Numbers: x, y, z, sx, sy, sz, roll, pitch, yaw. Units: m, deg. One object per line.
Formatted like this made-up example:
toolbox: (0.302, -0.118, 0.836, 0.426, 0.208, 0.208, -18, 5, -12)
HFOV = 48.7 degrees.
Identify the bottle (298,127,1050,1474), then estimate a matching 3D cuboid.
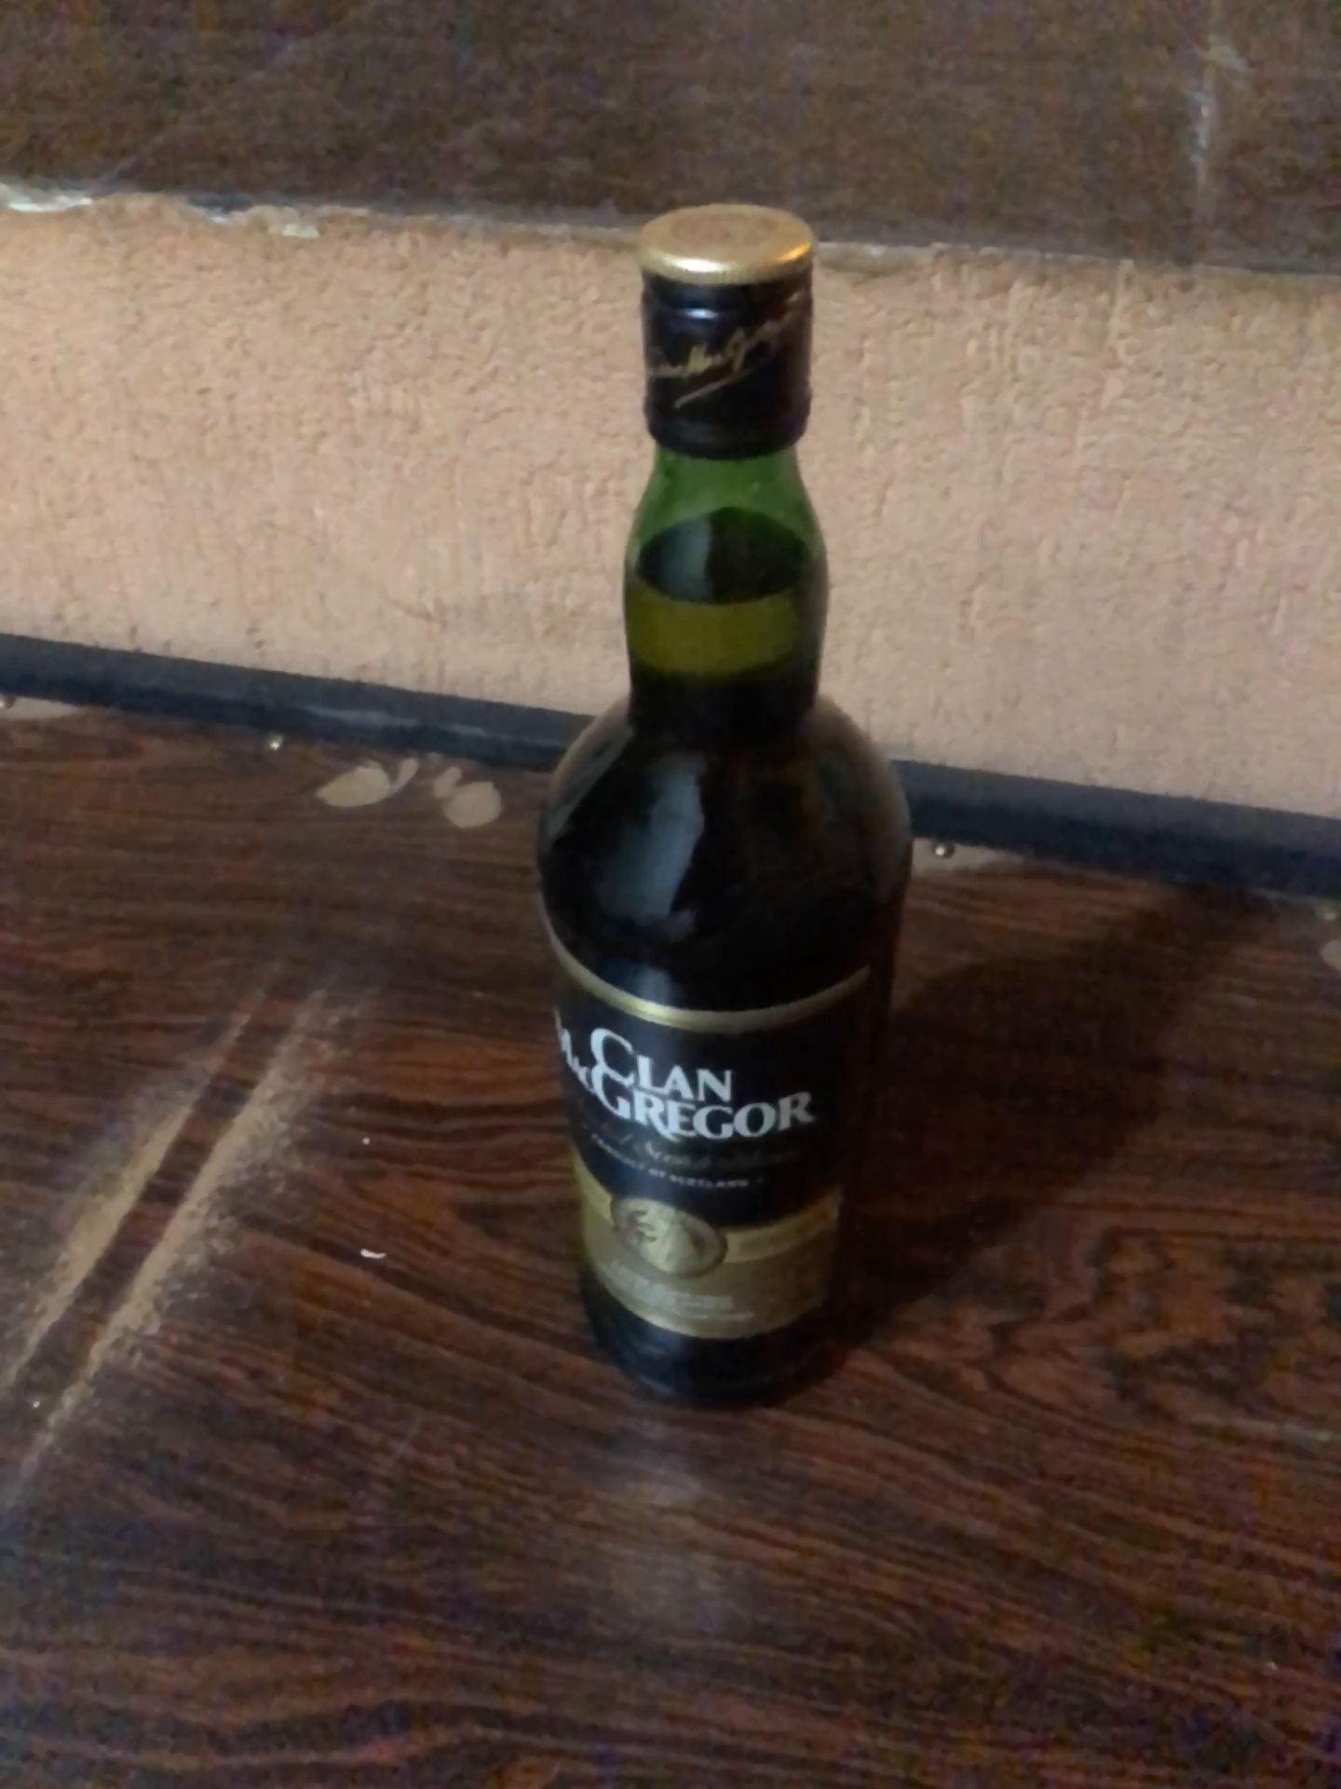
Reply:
bottle: (0.011, 0.010, 0.333, 0.090, 0.308, 0.081, 15, 48, 18)
